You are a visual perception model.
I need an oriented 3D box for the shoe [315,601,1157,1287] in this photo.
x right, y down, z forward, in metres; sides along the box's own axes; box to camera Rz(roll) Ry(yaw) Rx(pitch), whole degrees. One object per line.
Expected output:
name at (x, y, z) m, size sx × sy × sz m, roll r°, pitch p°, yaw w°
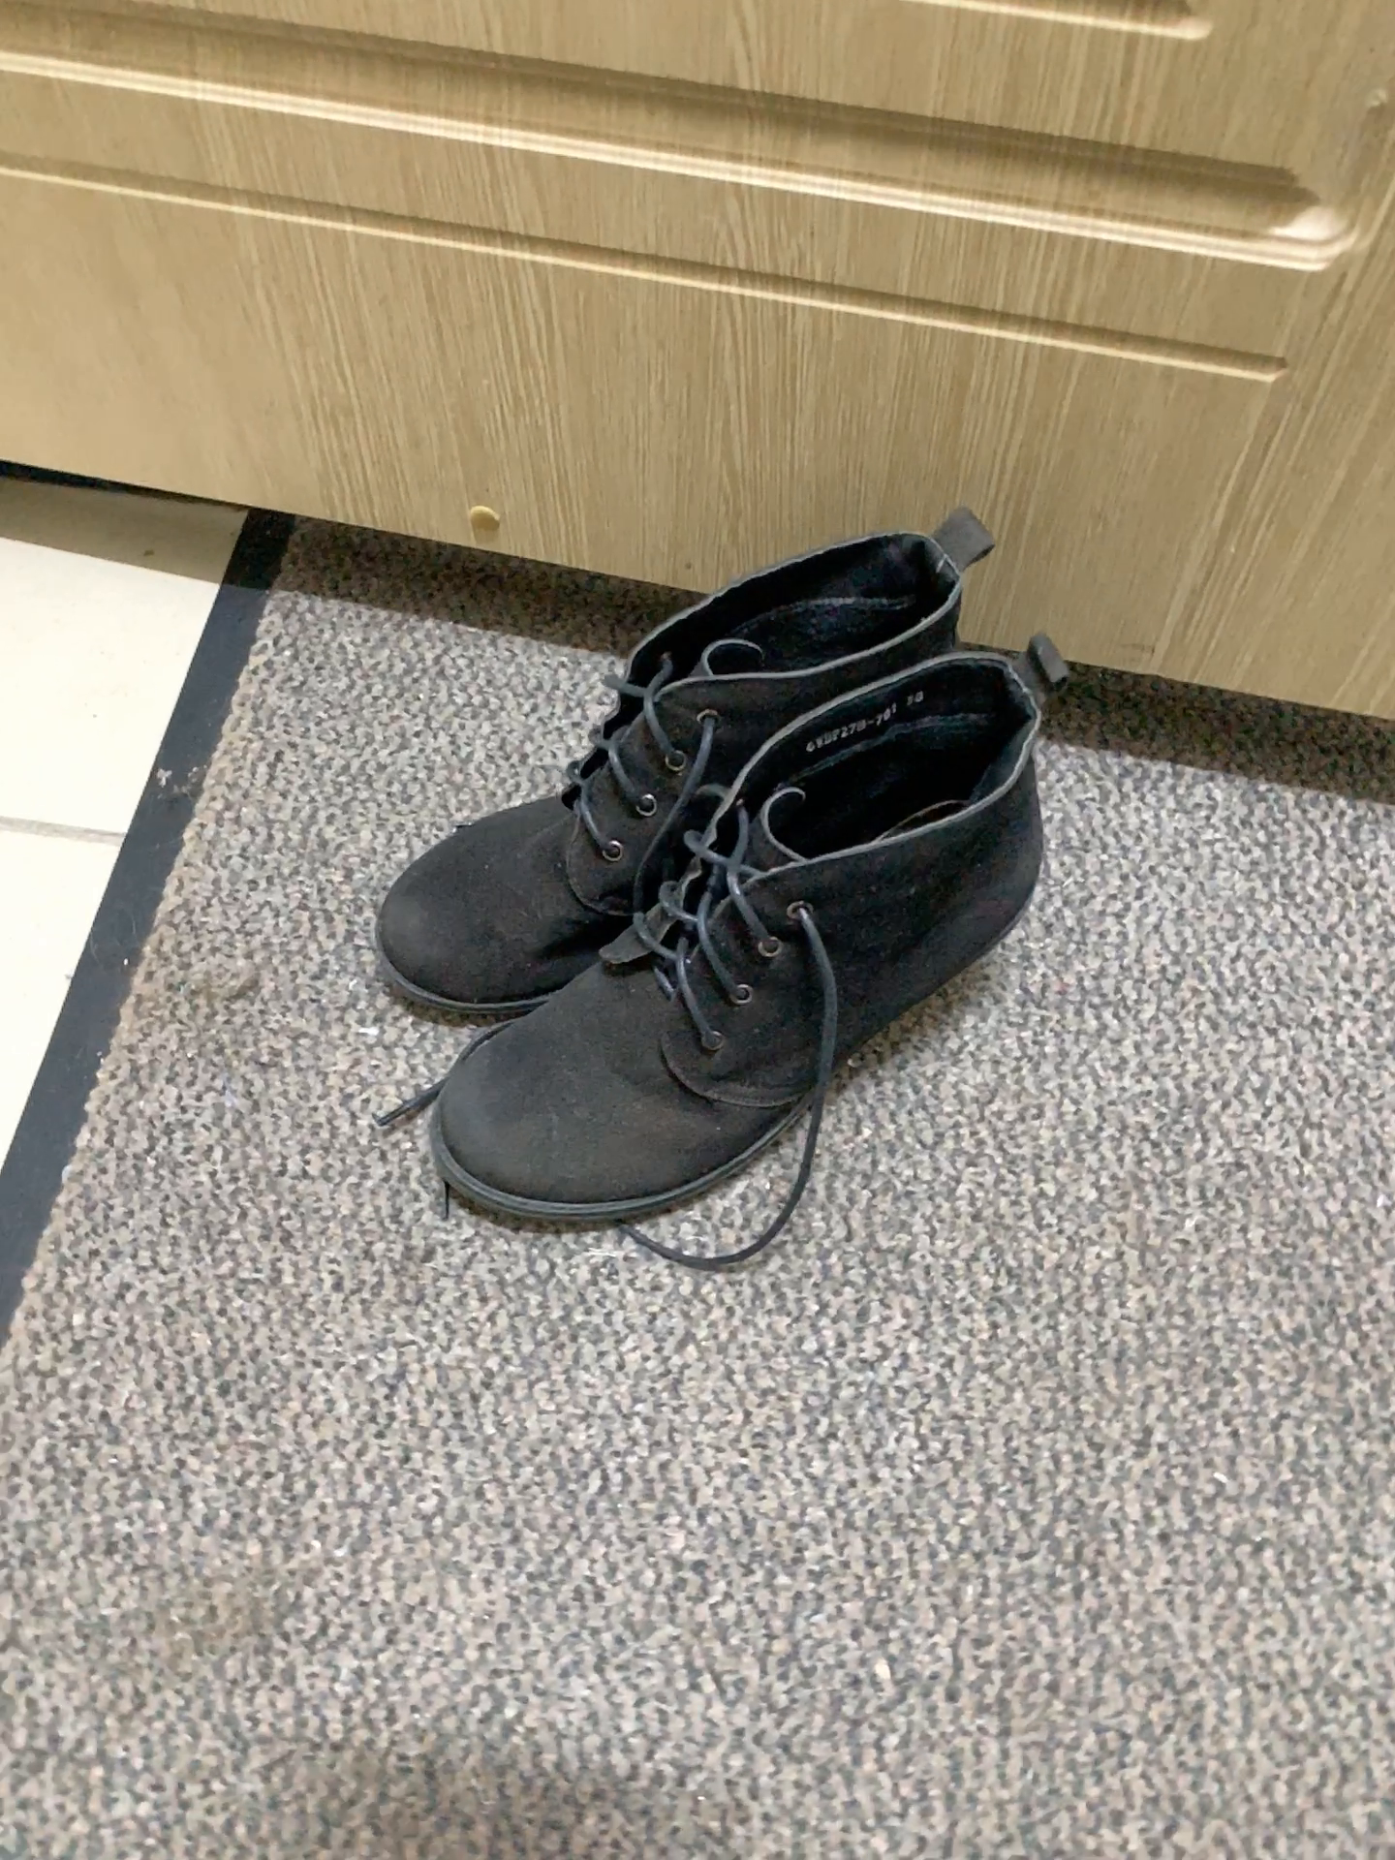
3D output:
shoe at (0.013, 0.012, 0.477) m, size 0.230 × 0.160 × 0.080 m, roll -24°, pitch 64°, yaw -12°

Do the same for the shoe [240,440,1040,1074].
shoe at (-0.017, -0.054, 0.503) m, size 0.230 × 0.160 × 0.080 m, roll -19°, pitch 63°, yaw -10°
